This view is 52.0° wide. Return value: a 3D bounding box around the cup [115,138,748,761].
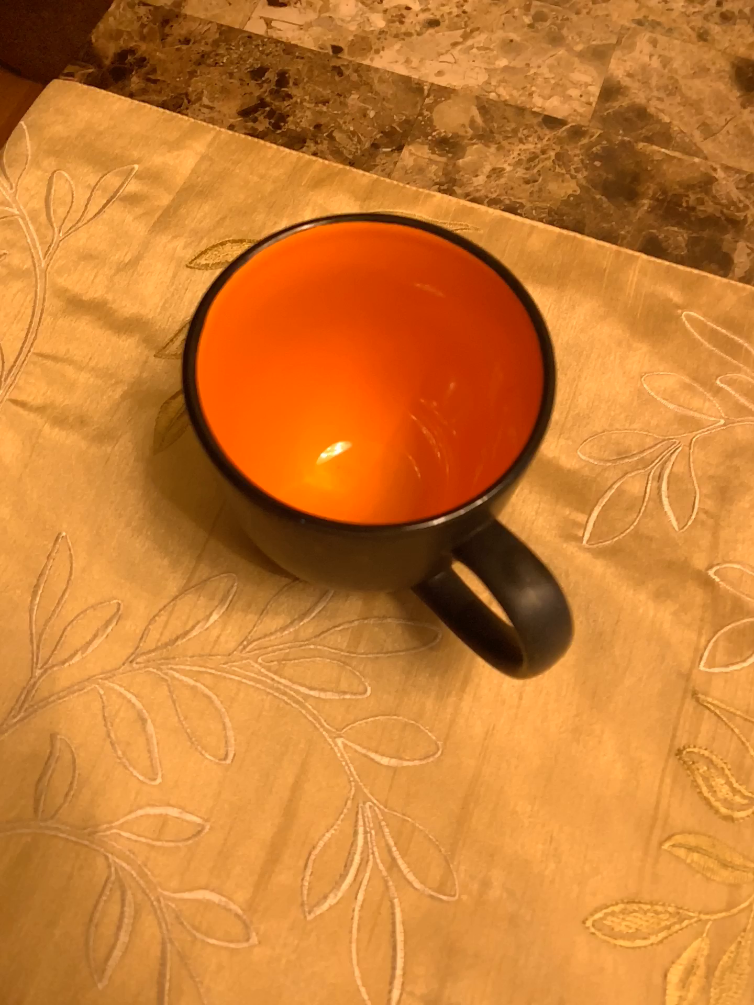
[{"bbox_3d":[0.009,-0.012,0.232,0.099,0.088,0.133,-31,73,-14],"label":"cup"}]
